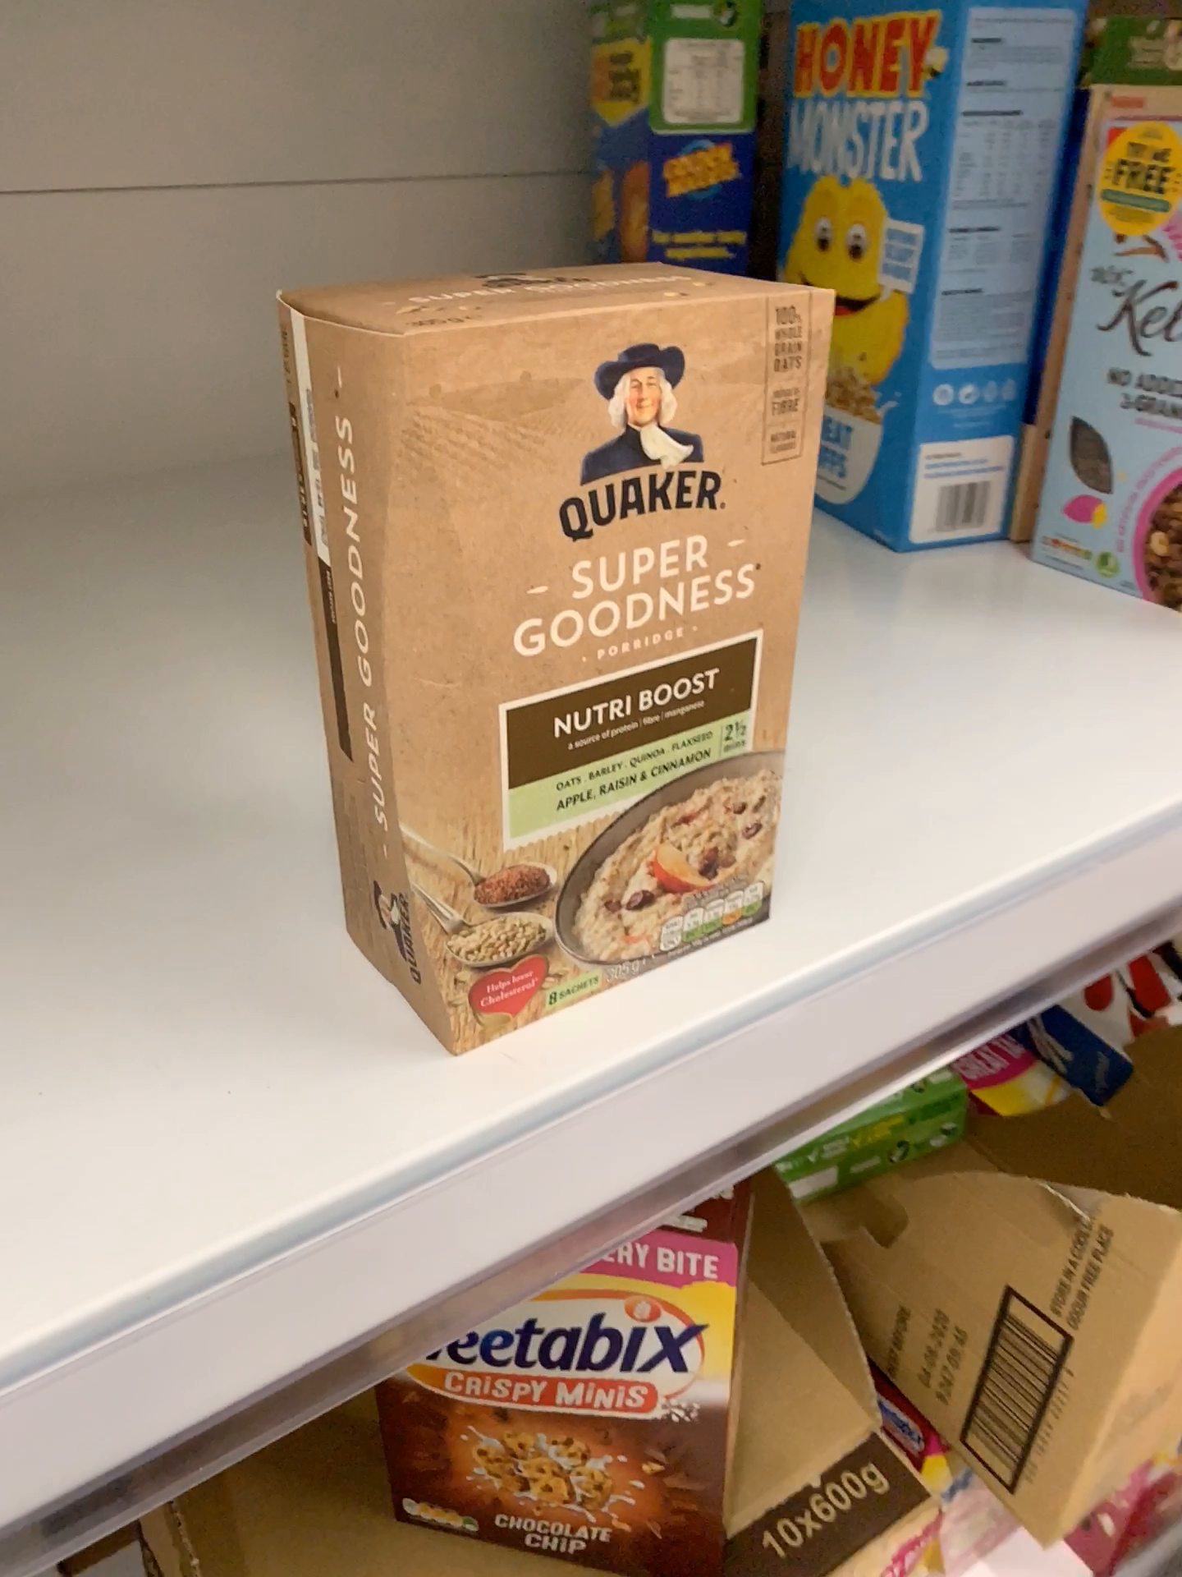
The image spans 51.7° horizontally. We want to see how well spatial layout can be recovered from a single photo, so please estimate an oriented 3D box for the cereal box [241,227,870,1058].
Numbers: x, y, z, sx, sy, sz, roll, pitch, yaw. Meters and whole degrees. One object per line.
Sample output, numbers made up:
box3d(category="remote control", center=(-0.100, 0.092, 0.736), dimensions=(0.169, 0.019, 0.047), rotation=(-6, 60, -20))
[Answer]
box3d(category="cereal box", center=(-0.007, -0.046, 0.349), dimensions=(0.141, 0.198, 0.070), rotation=(-18, 34, -30))
